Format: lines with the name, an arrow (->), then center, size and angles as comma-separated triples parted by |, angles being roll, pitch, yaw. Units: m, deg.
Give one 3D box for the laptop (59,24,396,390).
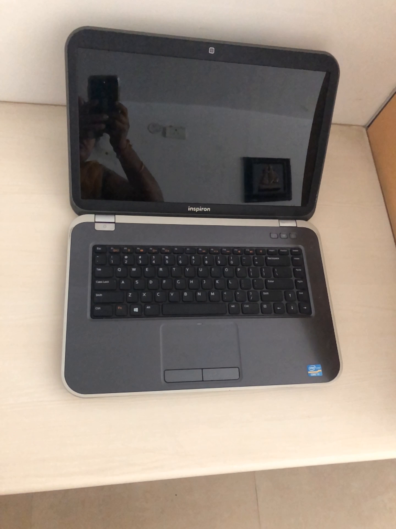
laptop -> 0.019, -0.068, 0.554 | 0.339, 0.152, 0.409 | 1, 69, -11
